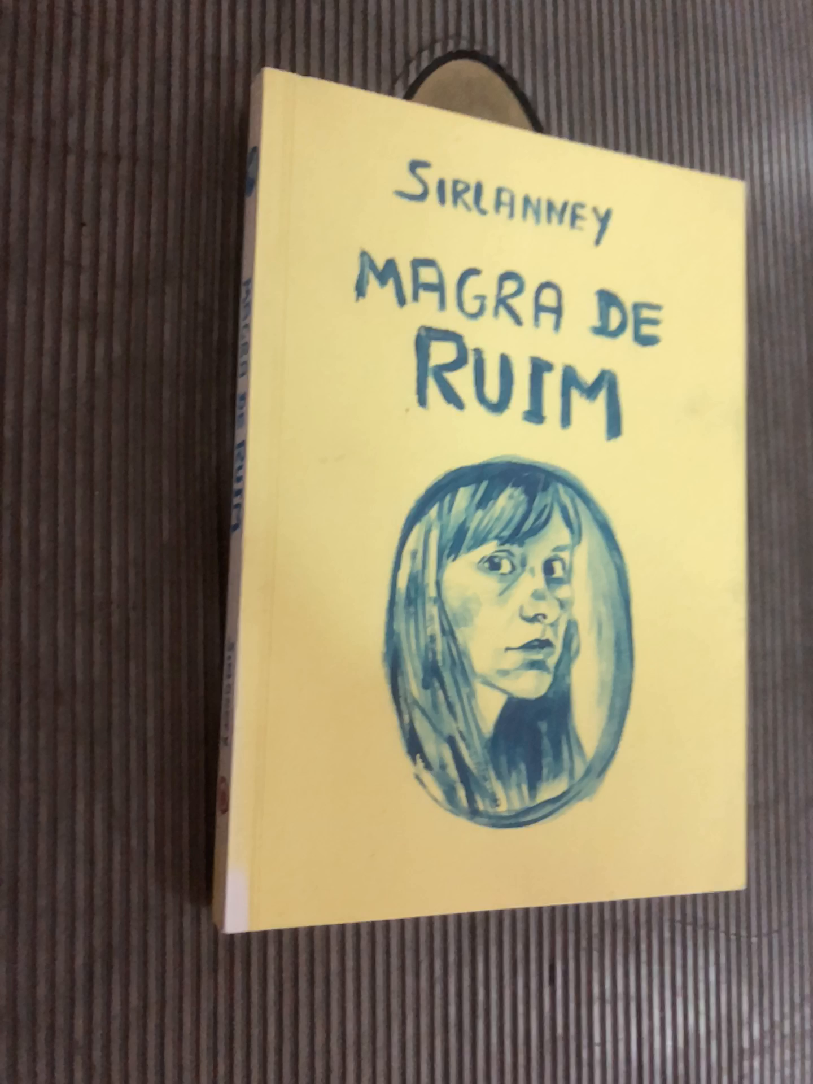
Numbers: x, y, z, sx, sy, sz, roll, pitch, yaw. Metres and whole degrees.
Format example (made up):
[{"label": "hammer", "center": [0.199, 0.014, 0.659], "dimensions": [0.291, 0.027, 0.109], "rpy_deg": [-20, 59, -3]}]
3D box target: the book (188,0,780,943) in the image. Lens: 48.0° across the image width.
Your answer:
[{"label": "book", "center": [0.028, -0.014, 0.236], "dimensions": [0.150, 0.020, 0.210], "rpy_deg": [4, 85, -20]}]
